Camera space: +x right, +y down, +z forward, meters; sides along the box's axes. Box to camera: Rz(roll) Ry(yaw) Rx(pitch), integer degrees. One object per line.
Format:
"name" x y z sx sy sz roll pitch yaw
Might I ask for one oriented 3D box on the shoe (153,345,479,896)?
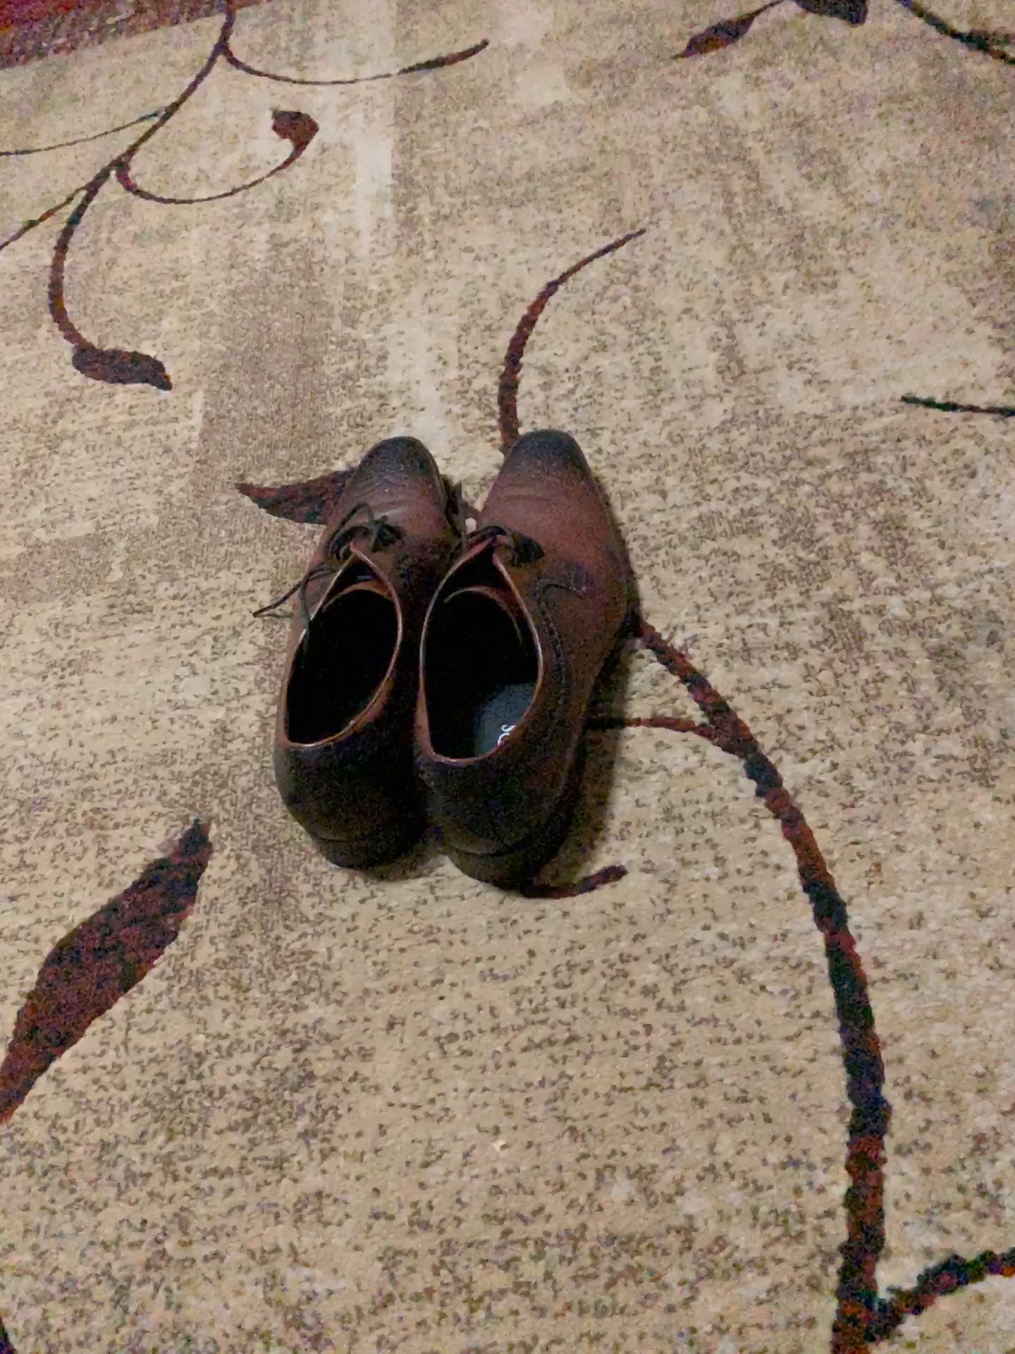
"shoe" -0.086 -0.040 0.570 0.100 0.115 0.288 -5 52 11

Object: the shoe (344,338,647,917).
"shoe" 0.011 -0.036 0.542 0.100 0.115 0.288 -1 53 13
